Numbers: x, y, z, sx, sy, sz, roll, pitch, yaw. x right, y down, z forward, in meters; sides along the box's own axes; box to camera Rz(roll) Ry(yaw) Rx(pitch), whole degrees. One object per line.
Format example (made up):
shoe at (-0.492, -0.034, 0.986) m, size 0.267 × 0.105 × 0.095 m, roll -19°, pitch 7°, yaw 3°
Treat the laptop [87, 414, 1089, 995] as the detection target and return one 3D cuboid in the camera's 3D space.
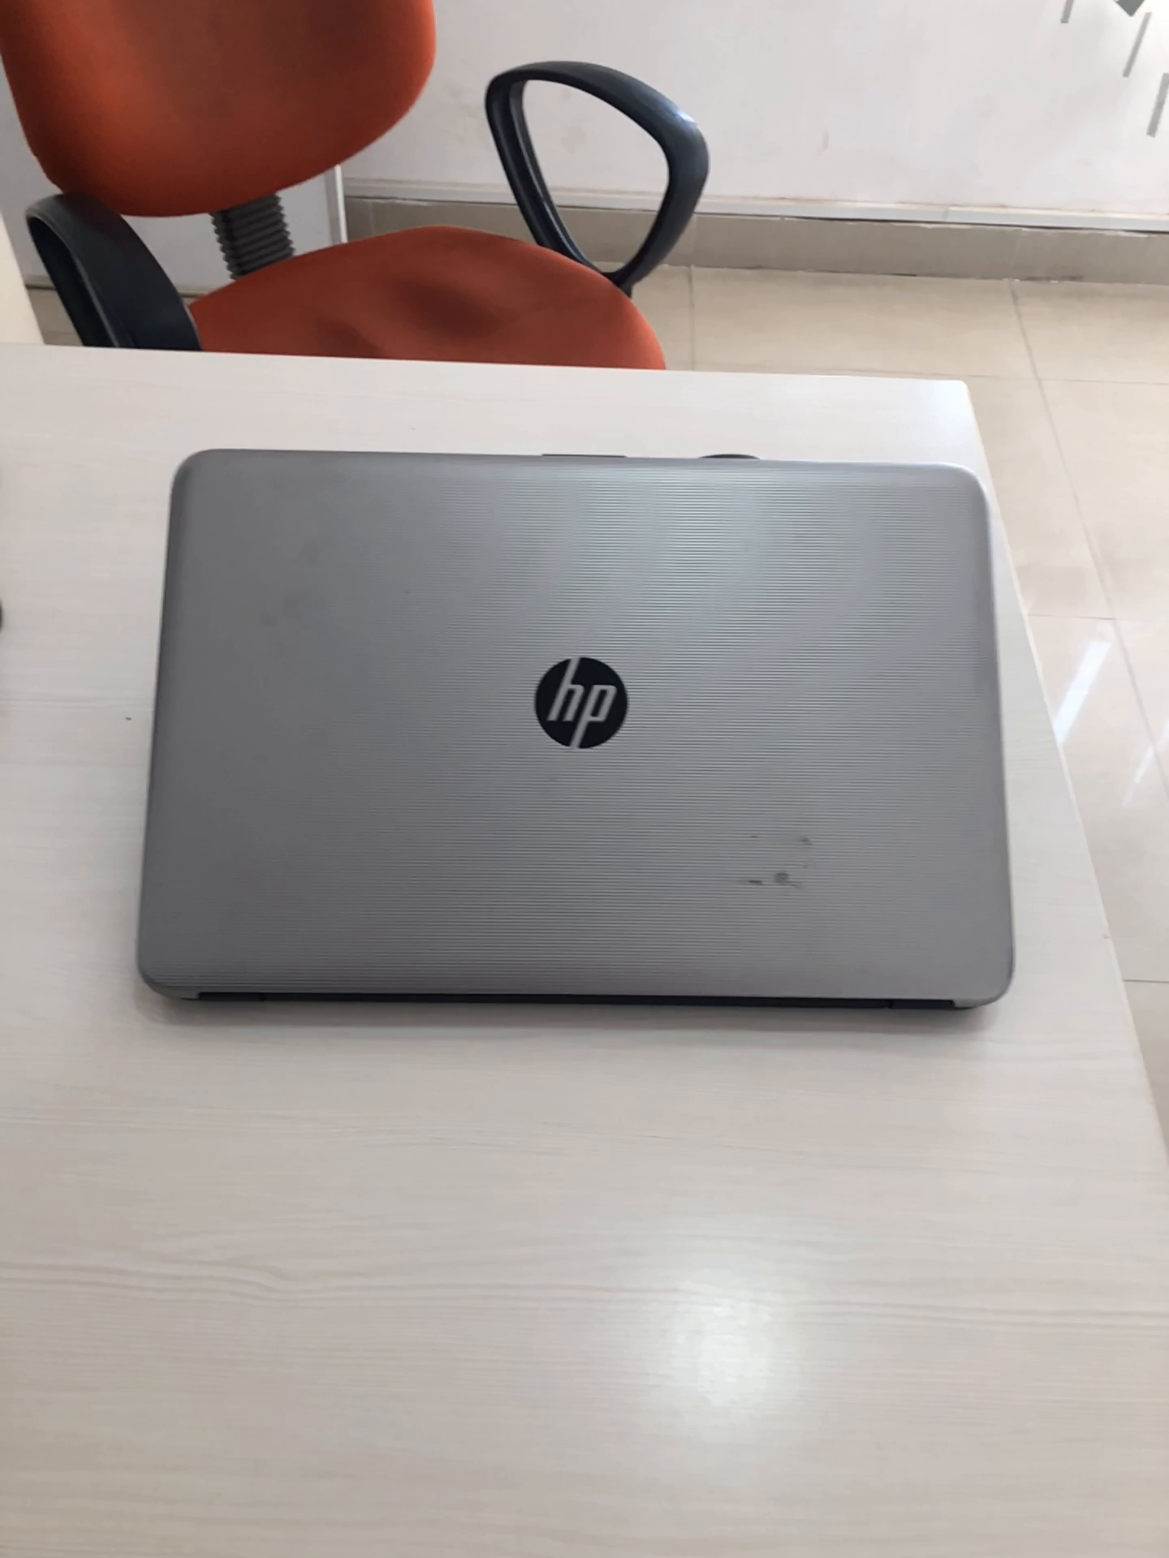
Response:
laptop at (-0.003, -0.042, 0.598) m, size 0.369 × 0.120 × 0.253 m, roll 0°, pitch 51°, yaw 0°
